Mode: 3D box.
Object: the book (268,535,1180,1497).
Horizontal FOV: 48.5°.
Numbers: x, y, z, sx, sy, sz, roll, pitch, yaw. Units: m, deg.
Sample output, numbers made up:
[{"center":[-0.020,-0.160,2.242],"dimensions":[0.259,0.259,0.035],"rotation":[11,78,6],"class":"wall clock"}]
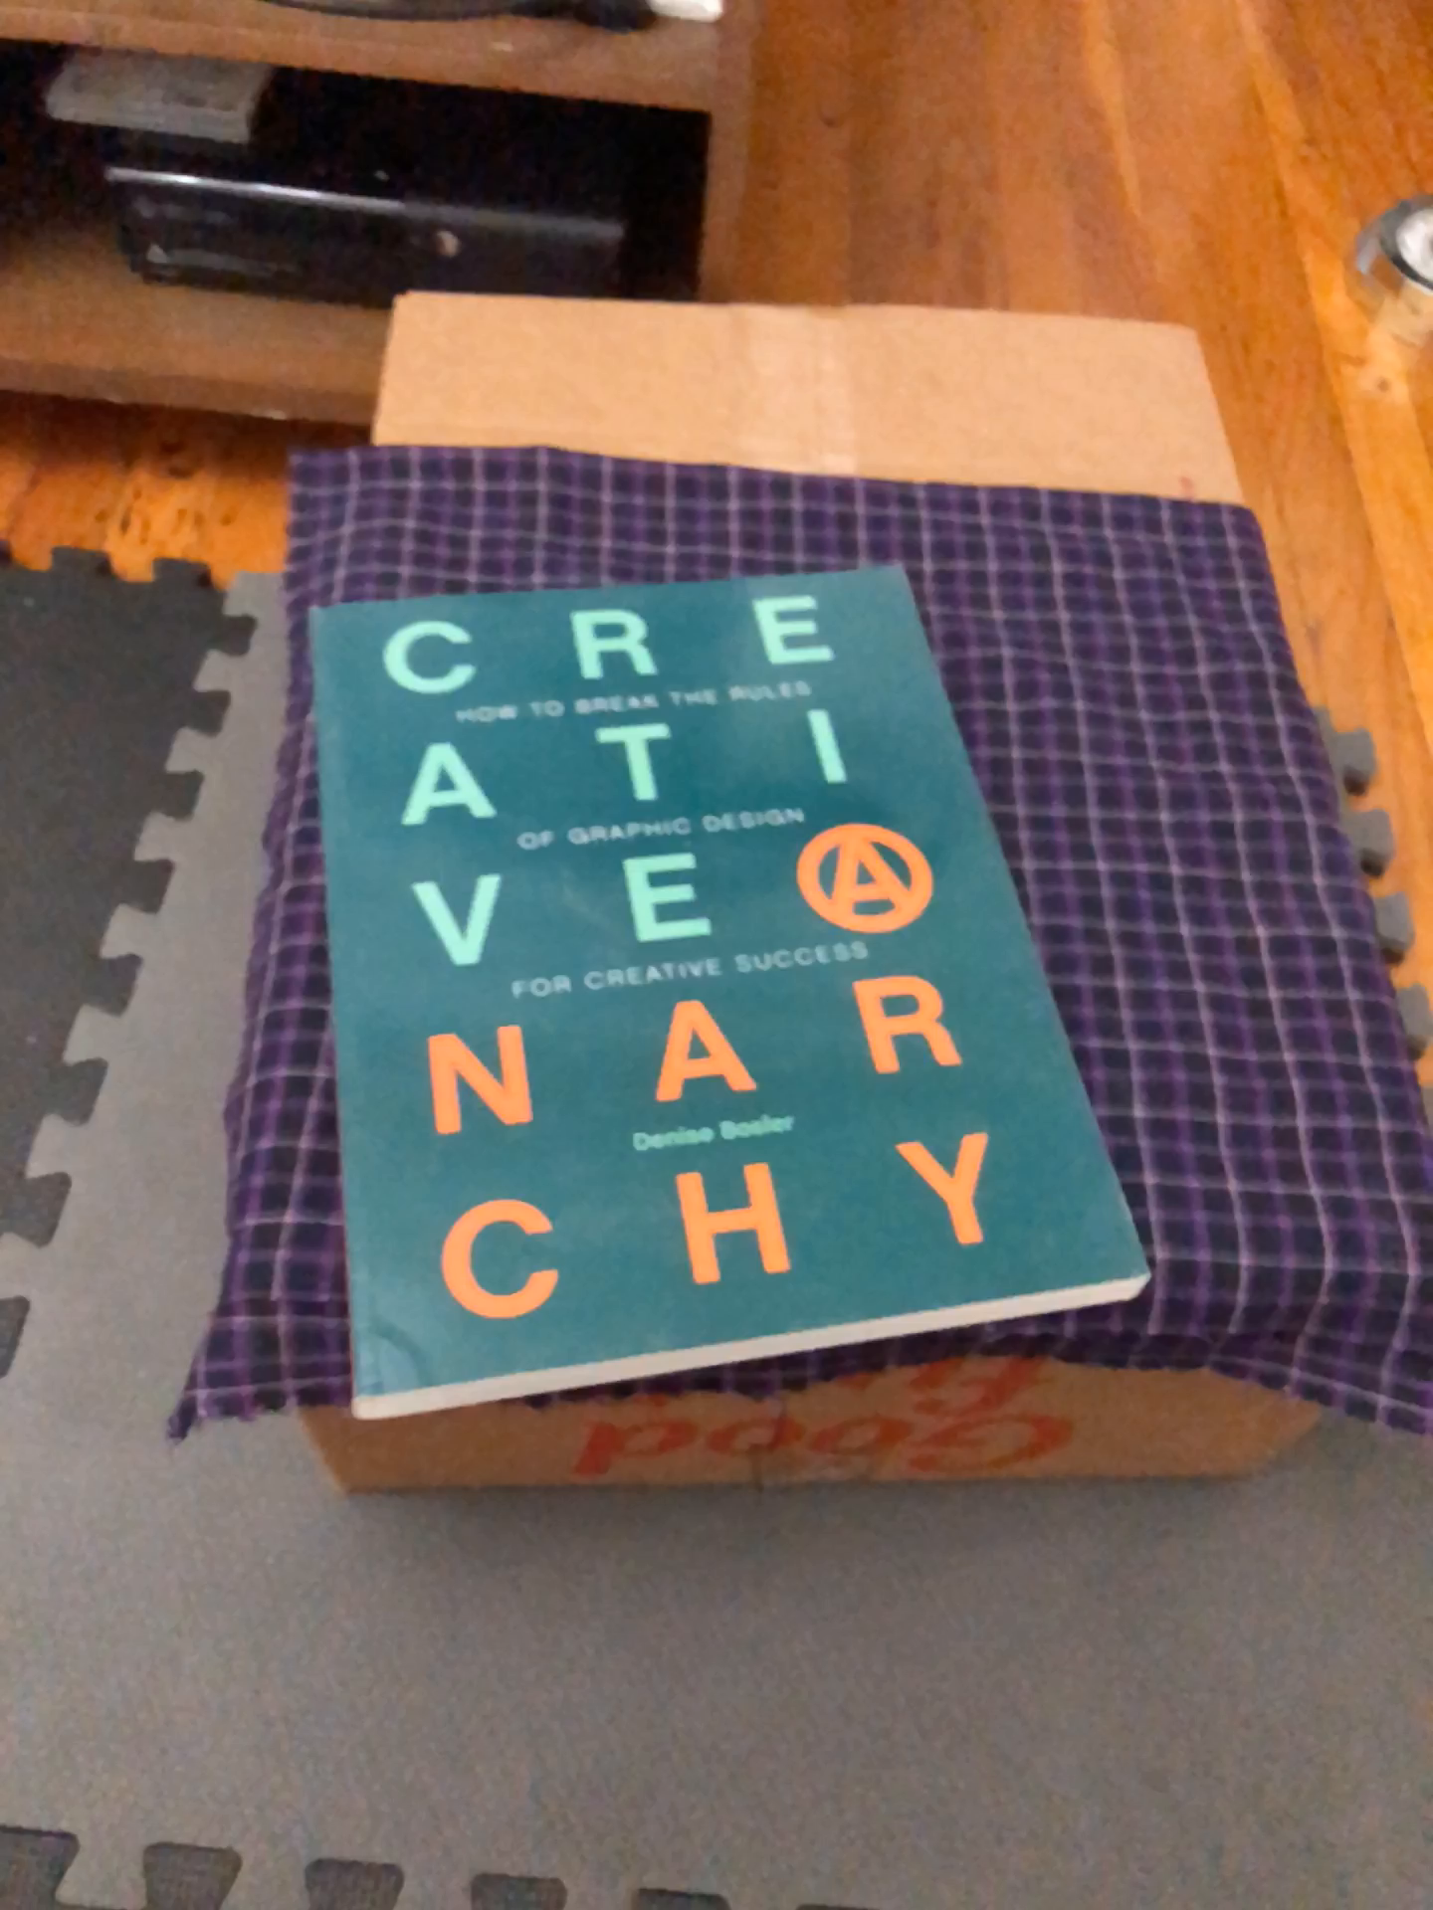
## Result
[{"center":[-0.017,-0.009,0.482],"dimensions":[0.220,0.020,0.301],"rotation":[-7,57,-9],"class":"book"}]
